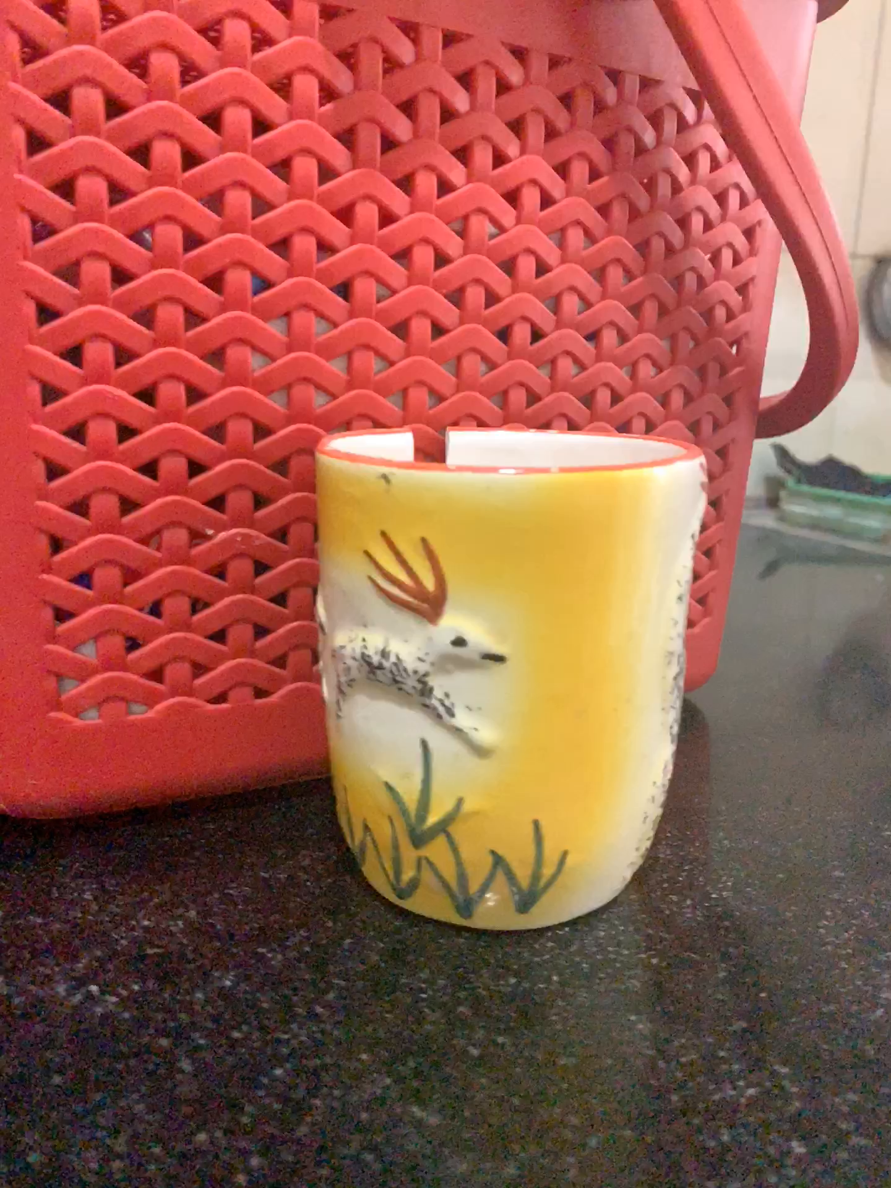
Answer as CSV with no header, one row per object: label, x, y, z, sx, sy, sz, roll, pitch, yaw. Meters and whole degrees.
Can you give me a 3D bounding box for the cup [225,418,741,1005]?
cup,0.004,0.013,0.212,0.080,0.100,0.080,2,13,0
